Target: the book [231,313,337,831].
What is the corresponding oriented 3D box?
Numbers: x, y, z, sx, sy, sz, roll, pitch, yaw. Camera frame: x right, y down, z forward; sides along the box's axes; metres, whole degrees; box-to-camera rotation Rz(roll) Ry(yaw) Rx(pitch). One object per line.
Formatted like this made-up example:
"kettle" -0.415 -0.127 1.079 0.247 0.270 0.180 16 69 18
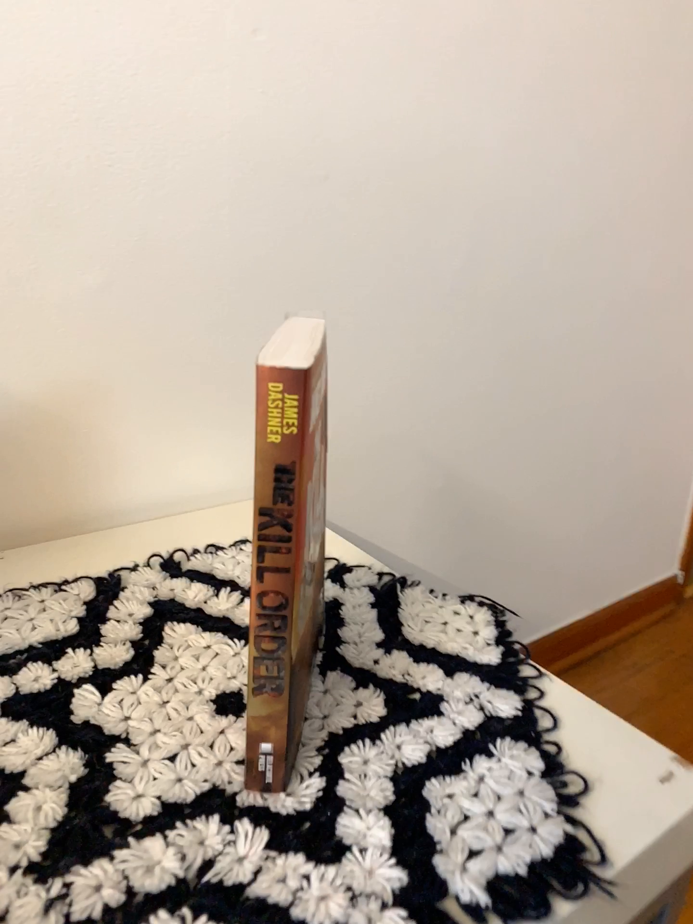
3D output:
"book" -0.029 0.042 0.377 0.030 0.219 0.161 3 17 2
